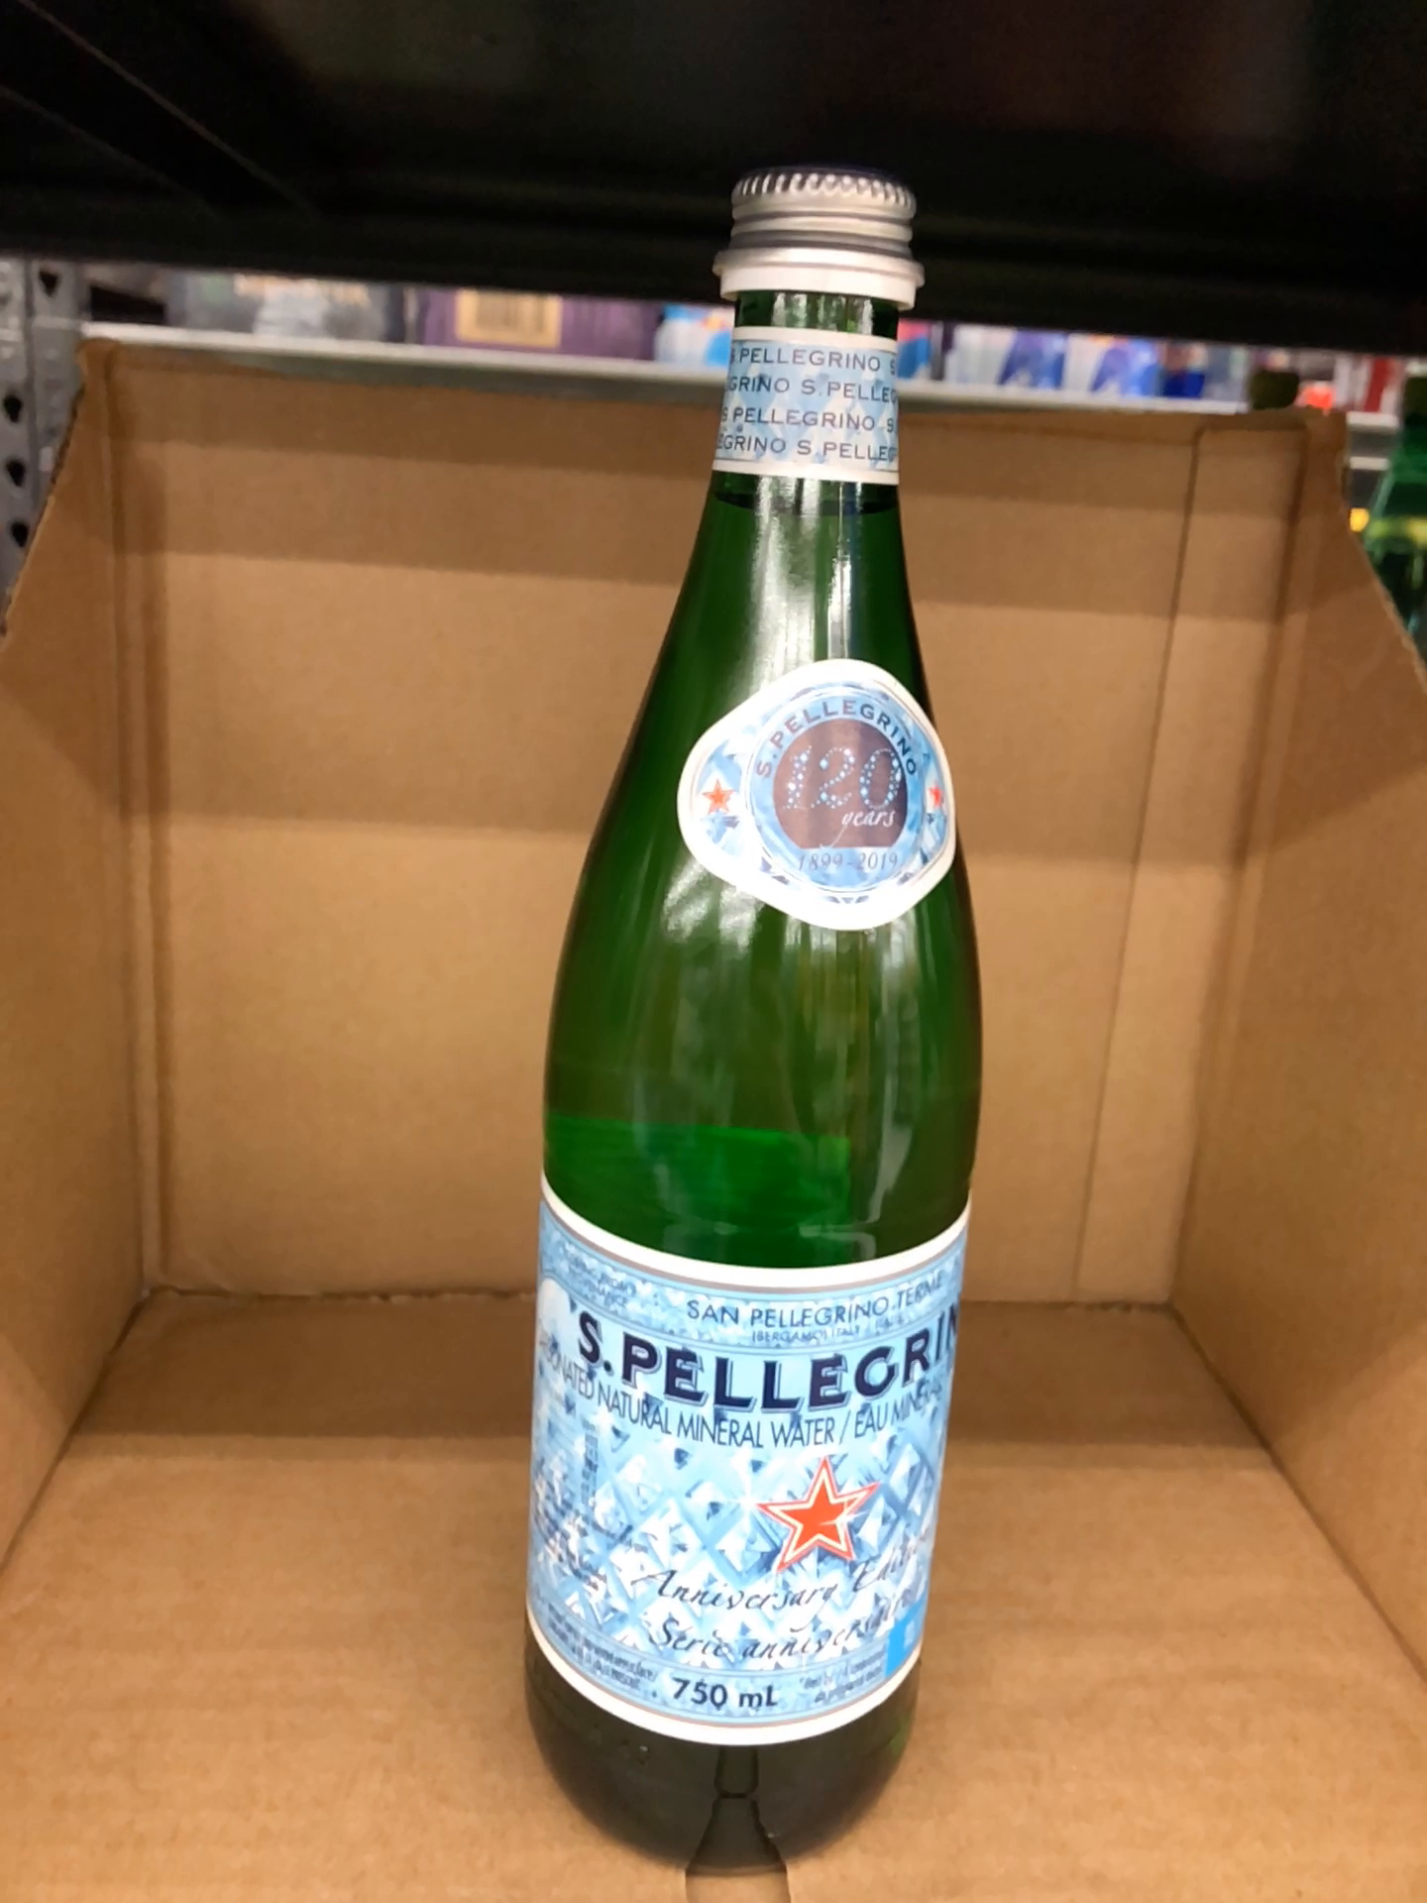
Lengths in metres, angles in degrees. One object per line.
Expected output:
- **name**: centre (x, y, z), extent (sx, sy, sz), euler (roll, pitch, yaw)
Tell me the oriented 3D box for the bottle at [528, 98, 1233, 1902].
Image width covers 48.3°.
- **bottle**: centre (0.013, 0.021, 0.268), extent (0.080, 0.278, 0.070), euler (2, 17, -6)
